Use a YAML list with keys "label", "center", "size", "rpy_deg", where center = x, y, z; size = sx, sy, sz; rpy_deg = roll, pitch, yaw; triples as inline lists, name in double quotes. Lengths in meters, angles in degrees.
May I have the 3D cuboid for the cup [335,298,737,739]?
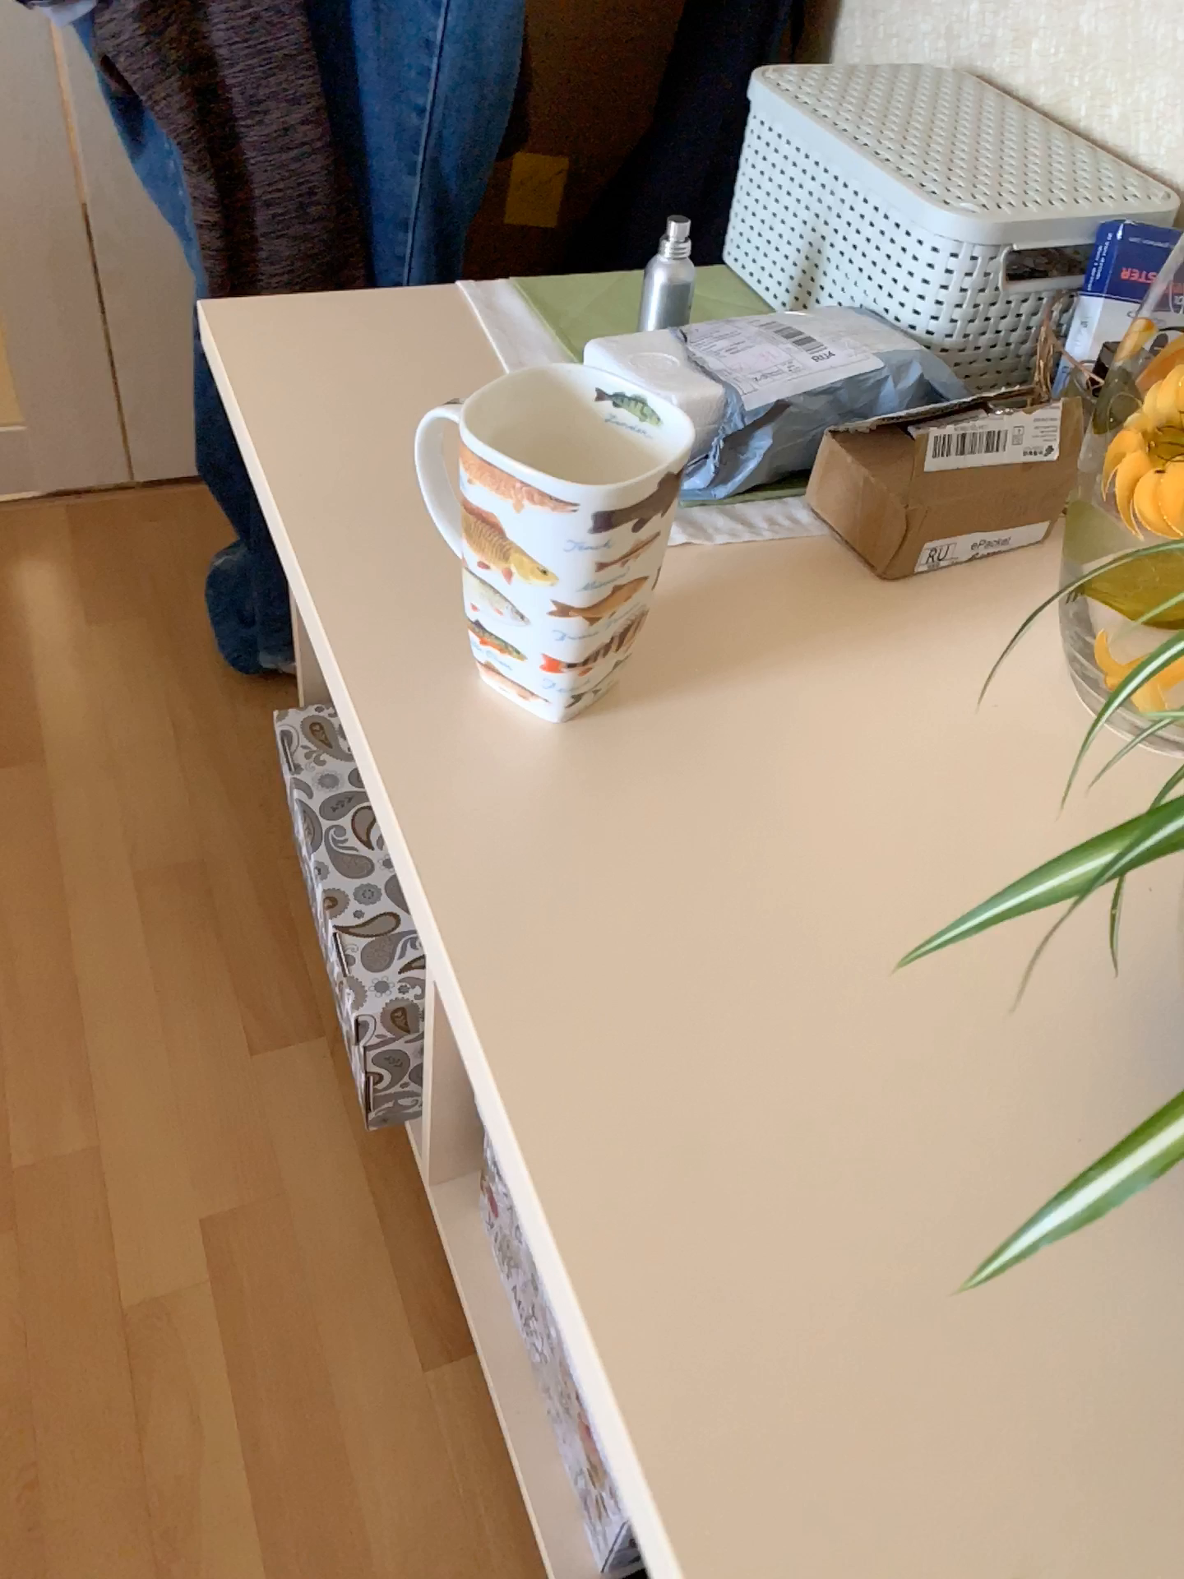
- label: "cup"
  center: [-0.029, -0.123, 0.540]
  size: [0.139, 0.121, 0.092]
  rpy_deg: [30, 49, 20]
